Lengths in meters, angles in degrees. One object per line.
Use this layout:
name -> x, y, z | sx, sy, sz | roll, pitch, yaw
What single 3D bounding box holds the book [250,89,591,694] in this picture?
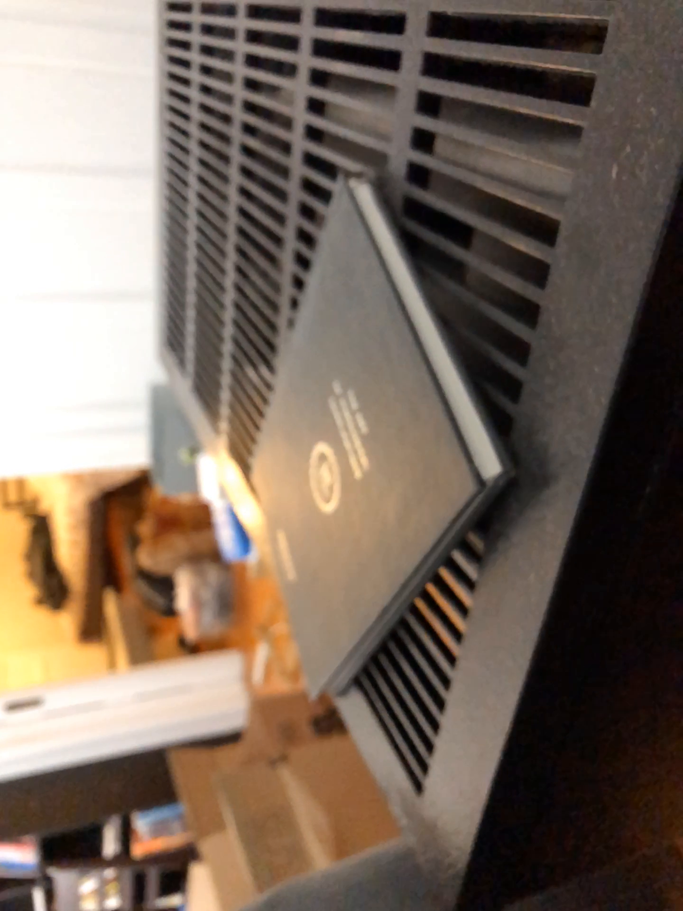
book -> 0.008, -0.009, 0.367 | 0.251, 0.020, 0.160 | 116, 142, -50
